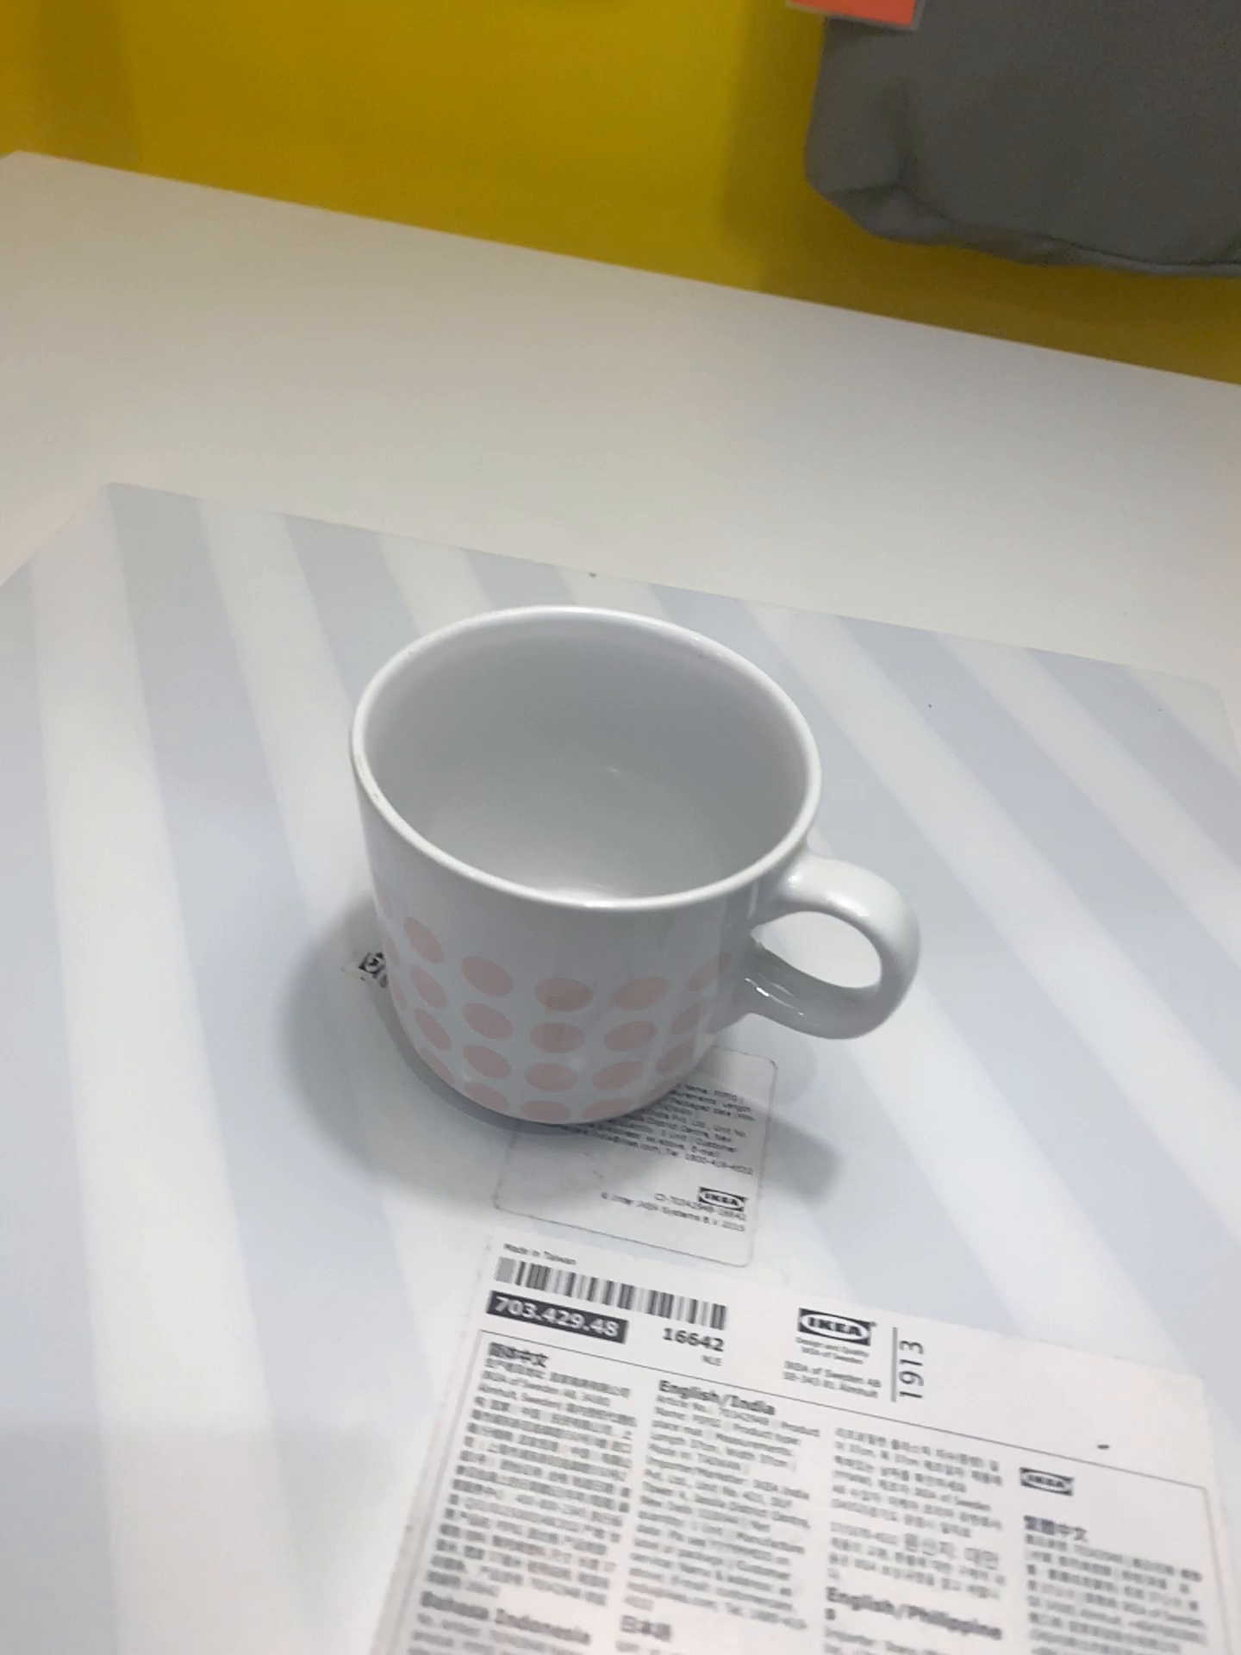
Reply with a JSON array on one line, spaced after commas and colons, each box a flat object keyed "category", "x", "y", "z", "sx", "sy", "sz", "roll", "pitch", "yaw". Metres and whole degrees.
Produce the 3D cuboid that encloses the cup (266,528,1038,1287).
[{"category": "cup", "x": 0.006, "y": 0.011, "z": 0.244, "sx": 0.110, "sy": 0.080, "sz": 0.080, "roll": 20, "pitch": 43, "yaw": 13}]
